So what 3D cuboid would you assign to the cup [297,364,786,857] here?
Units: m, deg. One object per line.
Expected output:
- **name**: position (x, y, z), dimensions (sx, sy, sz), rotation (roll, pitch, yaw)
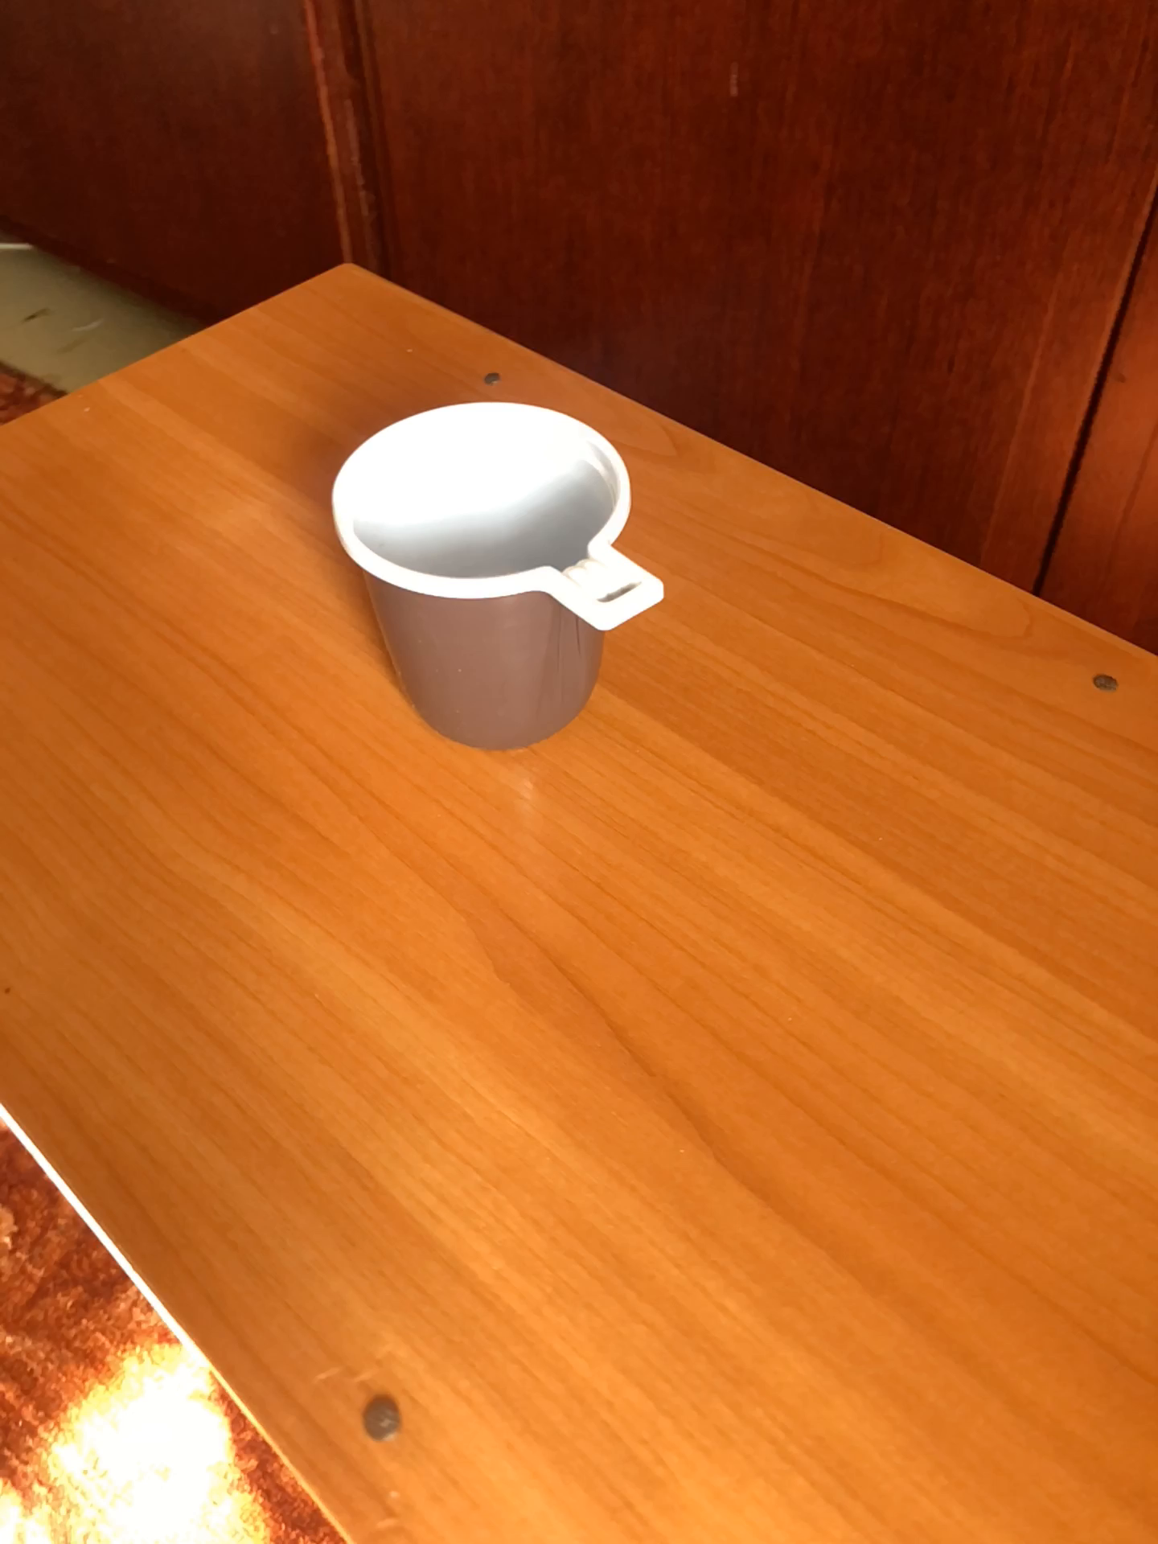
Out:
- **cup**: position (-0.011, -0.045, 0.327), dimensions (0.070, 0.060, 0.100), rotation (-31, 54, -24)
